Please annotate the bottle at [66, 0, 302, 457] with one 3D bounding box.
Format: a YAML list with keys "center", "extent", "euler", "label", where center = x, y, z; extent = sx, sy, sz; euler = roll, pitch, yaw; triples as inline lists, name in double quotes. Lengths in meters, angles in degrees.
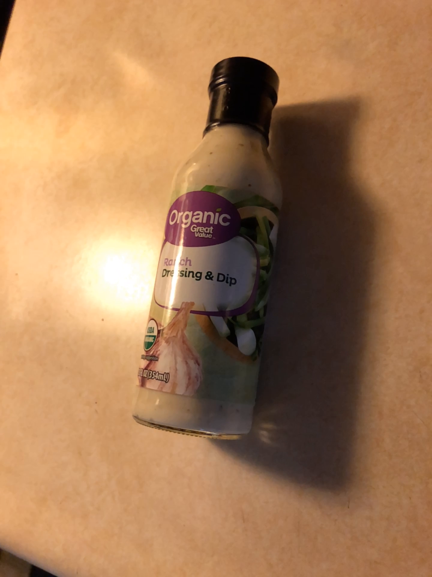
- center: [-0.007, -0.035, 0.263]
  extent: [0.070, 0.060, 0.230]
  euler: [4, 75, 22]
  label: "bottle"
